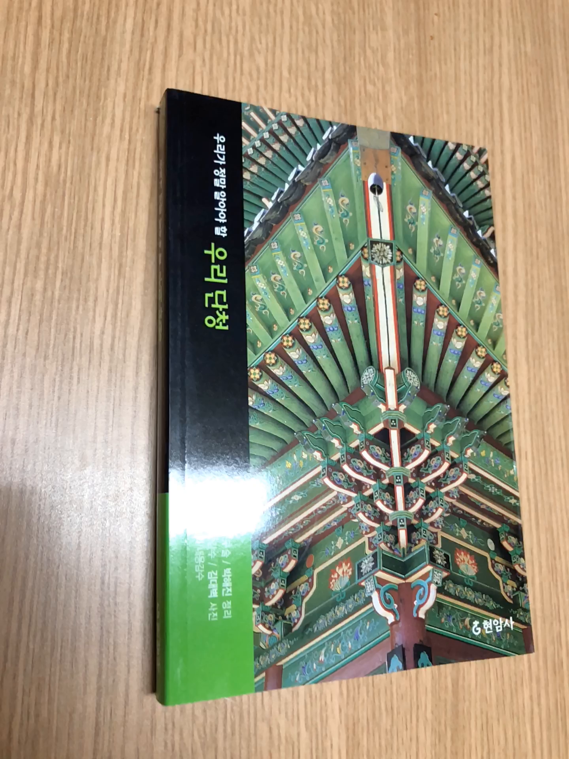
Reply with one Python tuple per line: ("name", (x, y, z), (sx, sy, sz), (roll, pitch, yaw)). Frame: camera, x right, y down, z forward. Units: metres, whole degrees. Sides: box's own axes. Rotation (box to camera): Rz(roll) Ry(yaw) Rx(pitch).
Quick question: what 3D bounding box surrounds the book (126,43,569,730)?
("book", (0.026, -0.003, 0.234), (0.160, 0.030, 0.210), (2, 80, -21))
